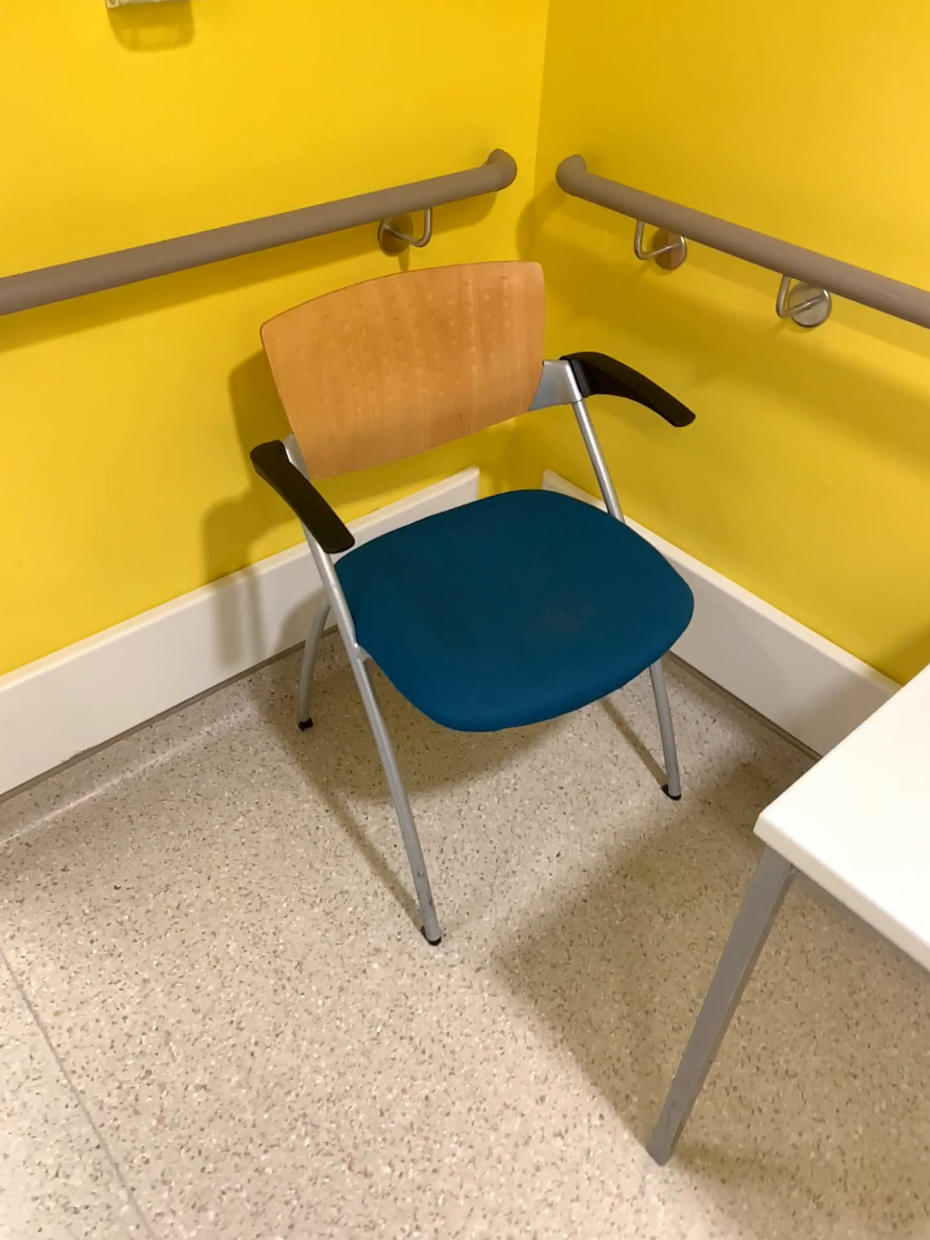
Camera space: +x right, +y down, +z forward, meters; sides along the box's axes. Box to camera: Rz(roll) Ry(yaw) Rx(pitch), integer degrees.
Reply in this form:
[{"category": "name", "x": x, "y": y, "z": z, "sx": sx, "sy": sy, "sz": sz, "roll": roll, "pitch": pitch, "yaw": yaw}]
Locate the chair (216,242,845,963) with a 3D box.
[{"category": "chair", "x": 0.051, "y": -0.051, "z": 1.461, "sx": 0.572, "sy": 0.779, "sz": 0.593, "roll": -21, "pitch": 45, "yaw": -25}]
